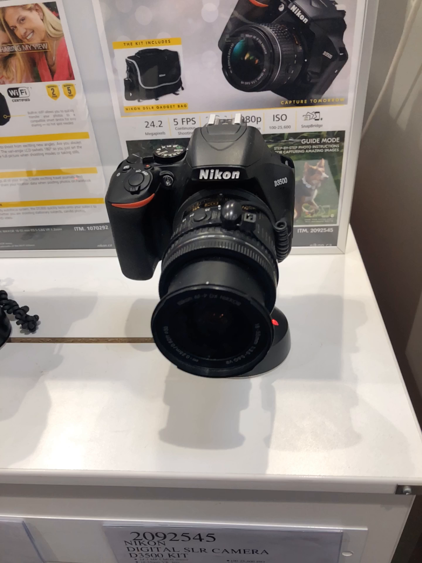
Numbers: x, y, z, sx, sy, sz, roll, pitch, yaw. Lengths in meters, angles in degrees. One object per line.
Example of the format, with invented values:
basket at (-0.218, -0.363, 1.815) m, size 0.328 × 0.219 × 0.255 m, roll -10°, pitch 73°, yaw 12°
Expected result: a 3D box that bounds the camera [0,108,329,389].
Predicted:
camera at (-0.014, -0.027, 0.258) m, size 0.130 × 0.089 × 0.141 m, roll 0°, pitch 37°, yaw 5°
